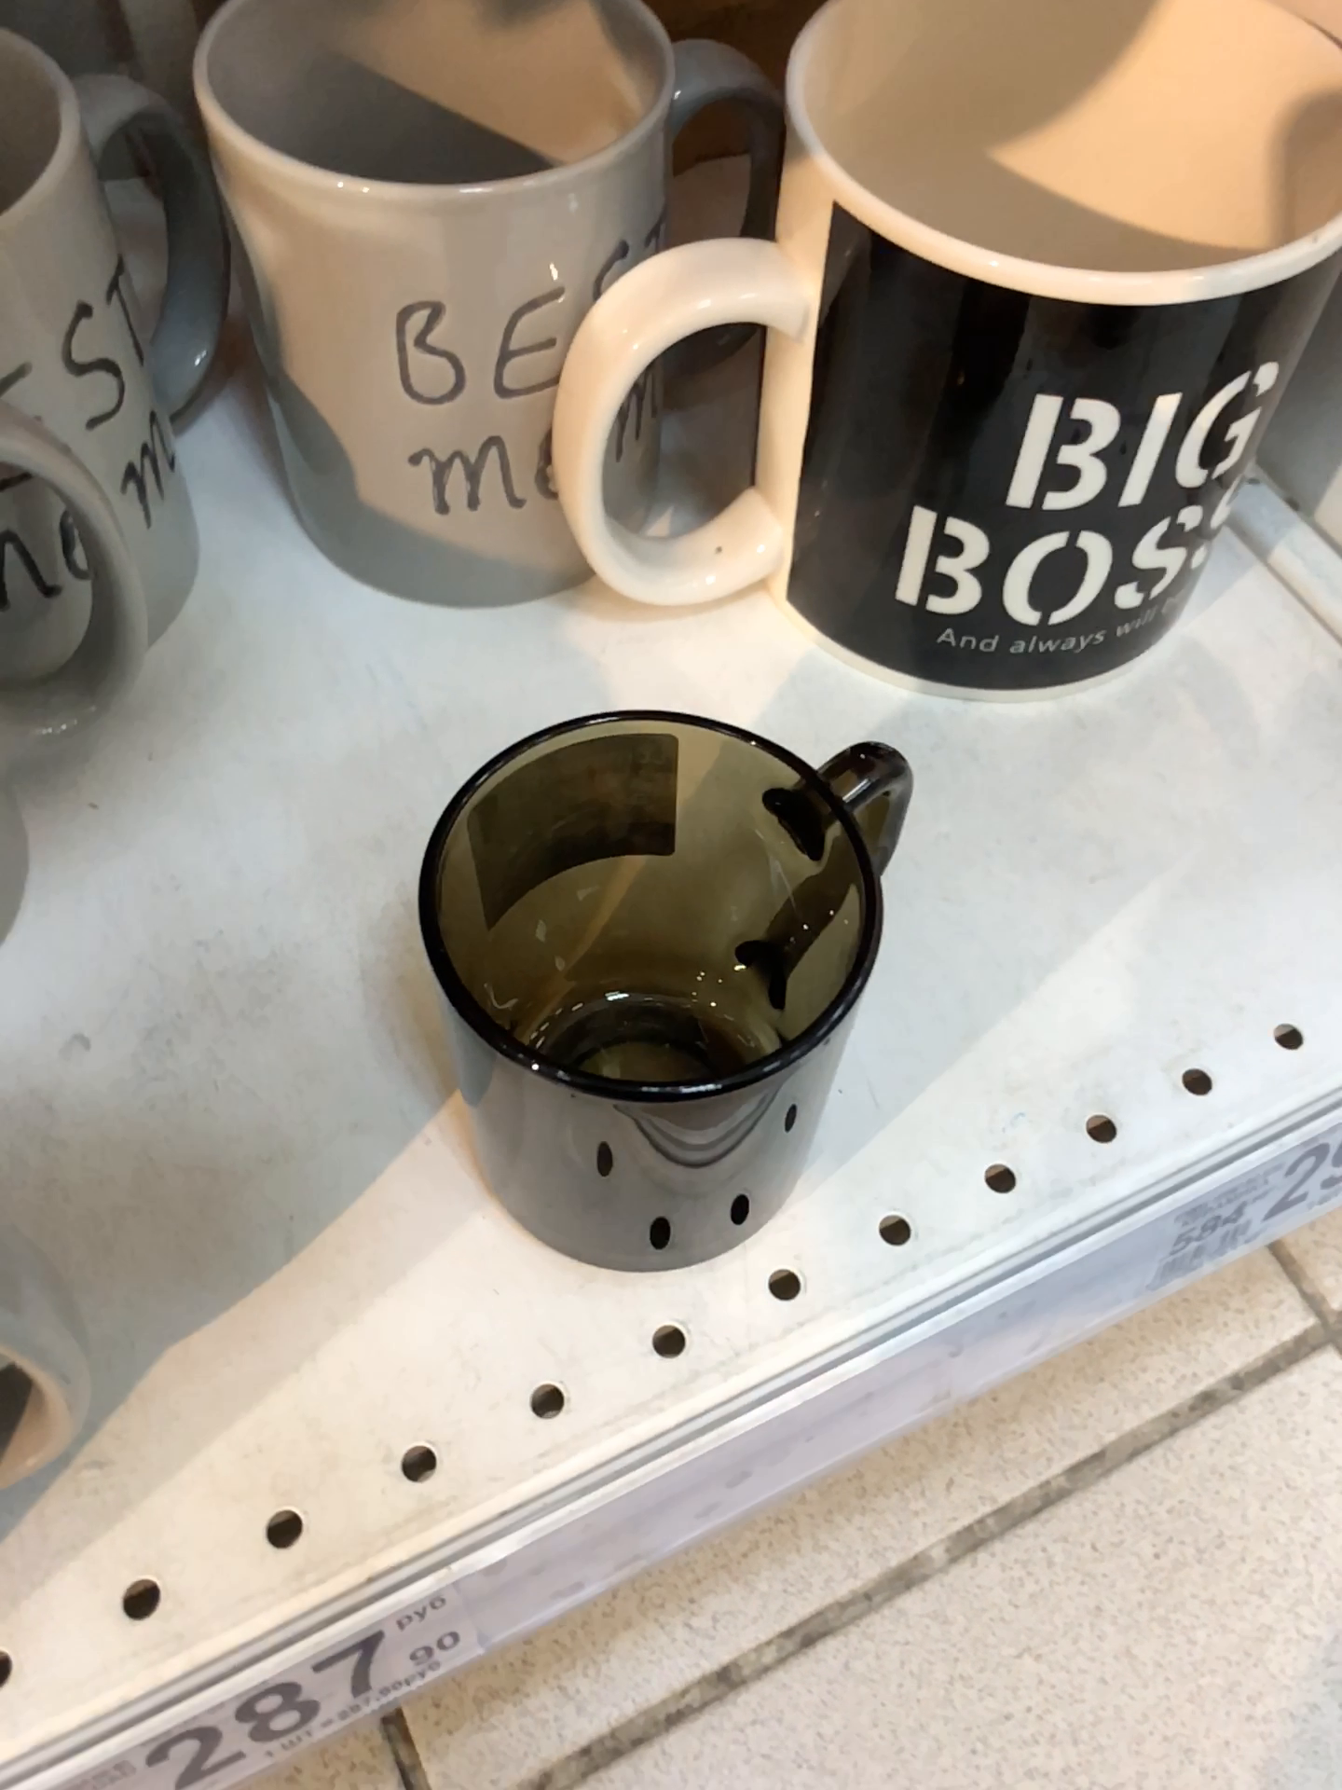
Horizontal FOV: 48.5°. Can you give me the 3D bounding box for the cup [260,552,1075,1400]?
[{"bbox_3d":[0.001,0.013,0.268,0.082,0.074,0.105,36,62,19],"label":"cup"}]
